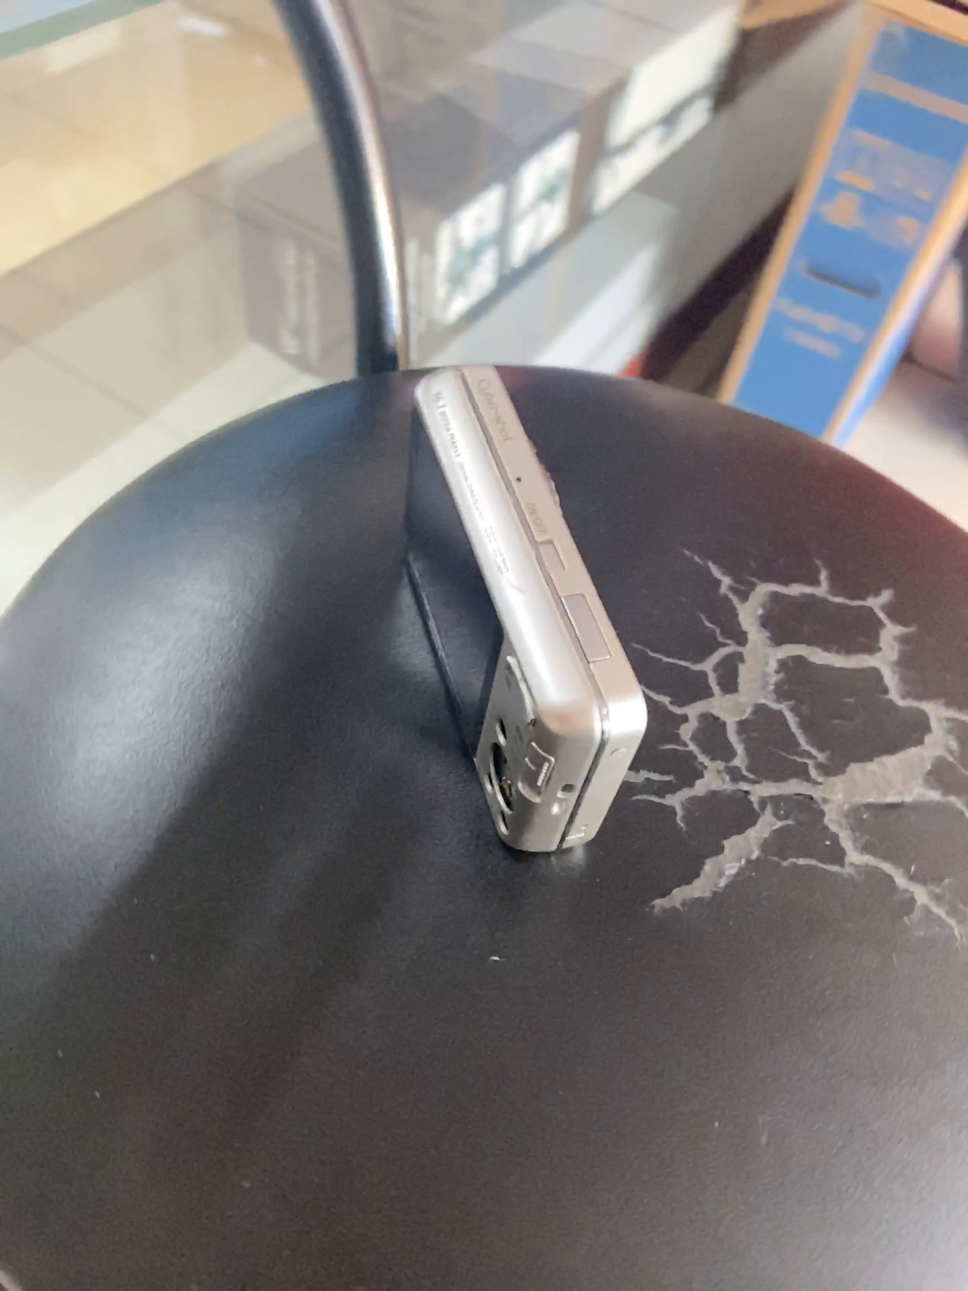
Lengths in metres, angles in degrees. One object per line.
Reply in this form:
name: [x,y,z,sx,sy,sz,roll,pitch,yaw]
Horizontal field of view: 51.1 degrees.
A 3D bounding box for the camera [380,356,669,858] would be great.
camera: [0.003,-0.011,0.202,0.022,0.042,0.093,-11,55,-17]
